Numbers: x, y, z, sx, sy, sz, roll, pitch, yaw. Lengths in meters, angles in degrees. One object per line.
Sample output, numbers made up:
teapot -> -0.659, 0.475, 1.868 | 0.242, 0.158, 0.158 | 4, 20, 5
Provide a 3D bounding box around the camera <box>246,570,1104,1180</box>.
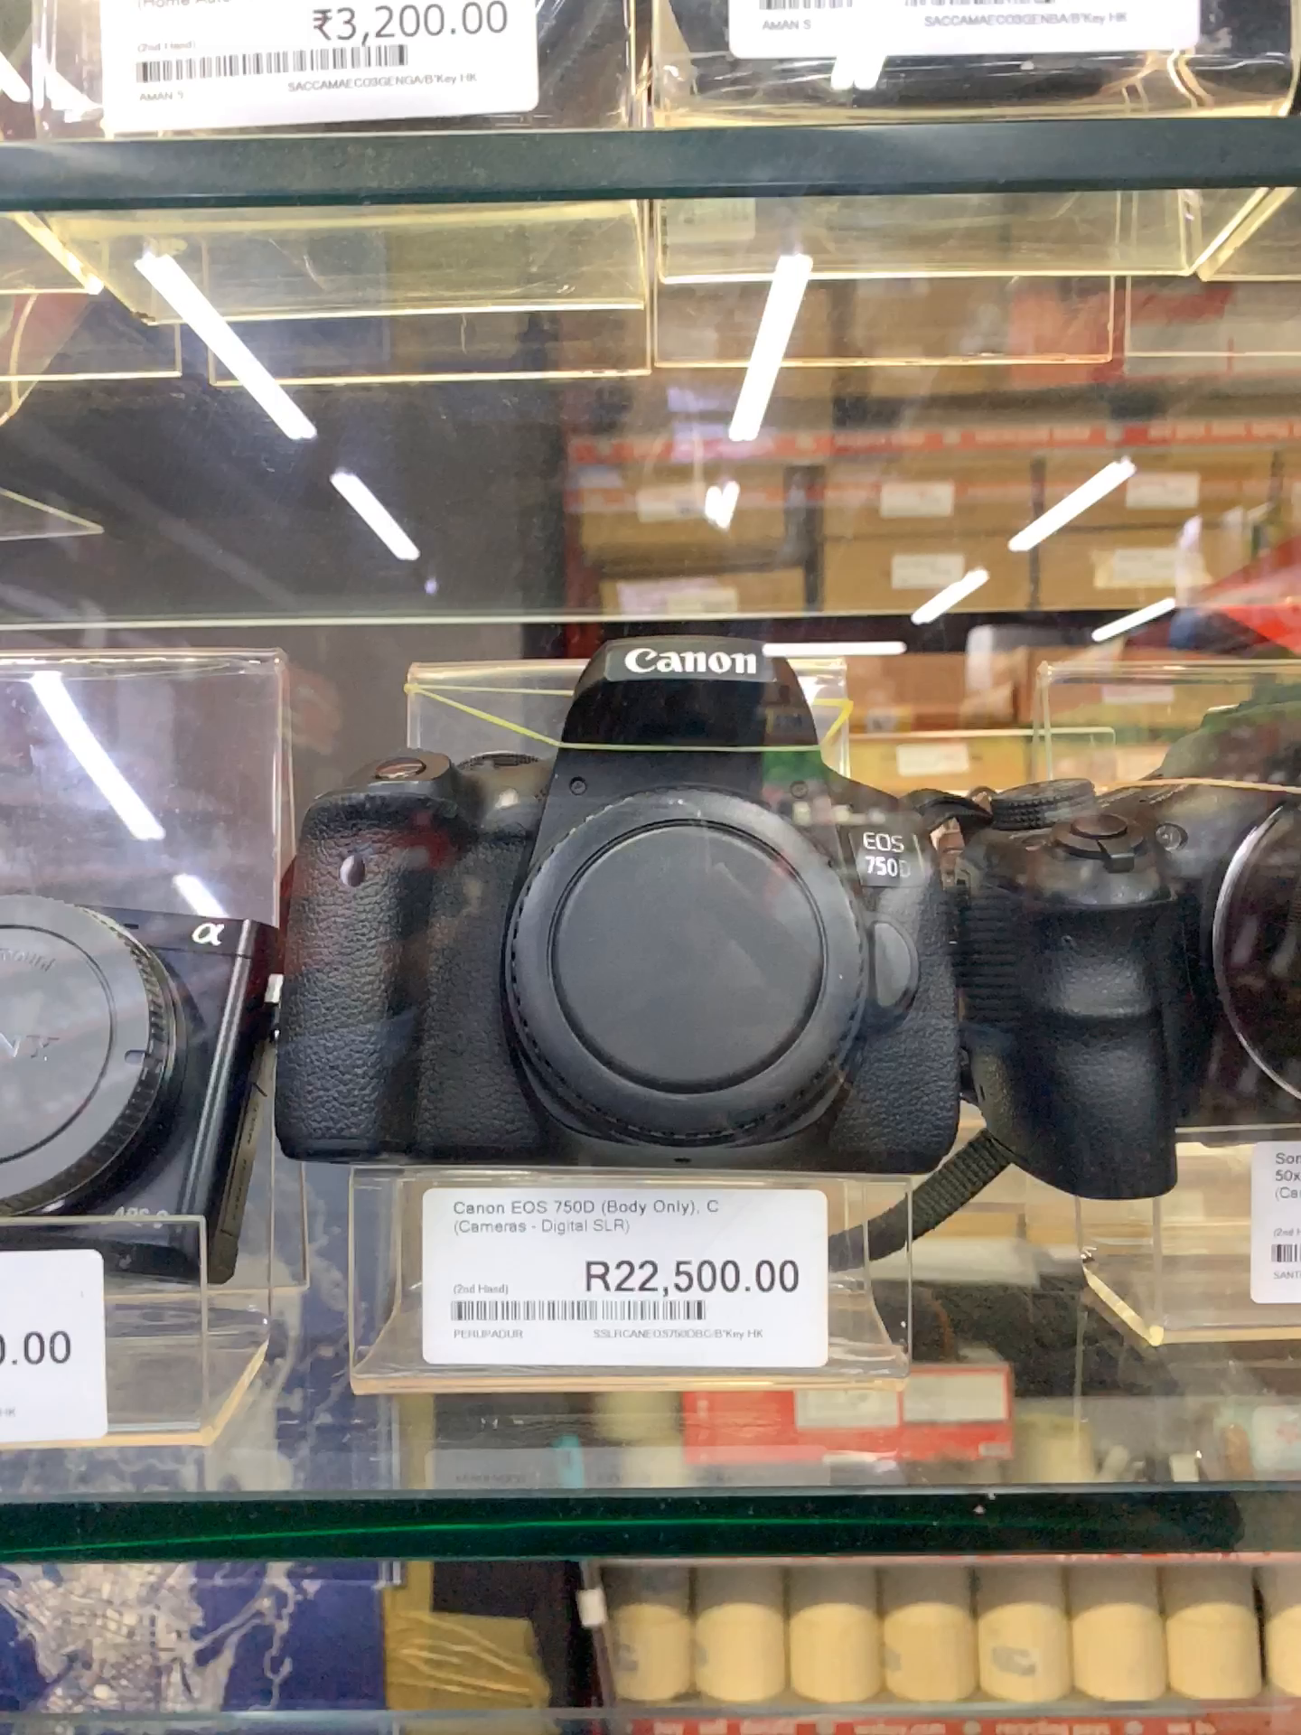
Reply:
camera -> 0.003, 0.002, 0.243 | 0.130, 0.090, 0.070 | 2, 0, -4
